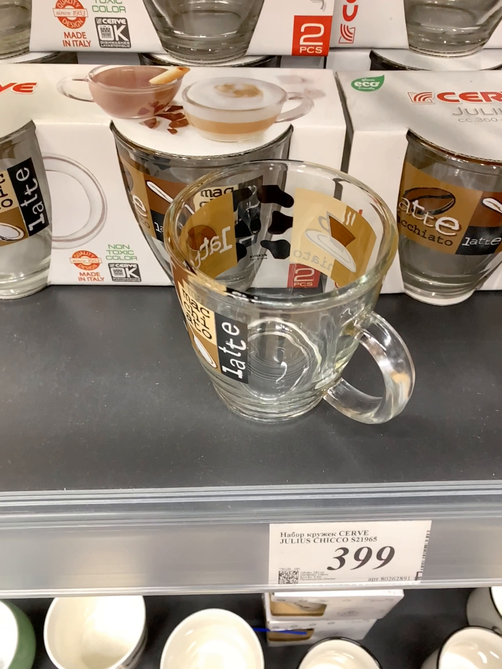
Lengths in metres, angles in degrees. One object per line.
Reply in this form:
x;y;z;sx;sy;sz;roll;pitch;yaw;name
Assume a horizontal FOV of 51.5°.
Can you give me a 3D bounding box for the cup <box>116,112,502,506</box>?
0.017;-0.016;0.218;0.084;0.086;0.118;-29;55;-23;cup
